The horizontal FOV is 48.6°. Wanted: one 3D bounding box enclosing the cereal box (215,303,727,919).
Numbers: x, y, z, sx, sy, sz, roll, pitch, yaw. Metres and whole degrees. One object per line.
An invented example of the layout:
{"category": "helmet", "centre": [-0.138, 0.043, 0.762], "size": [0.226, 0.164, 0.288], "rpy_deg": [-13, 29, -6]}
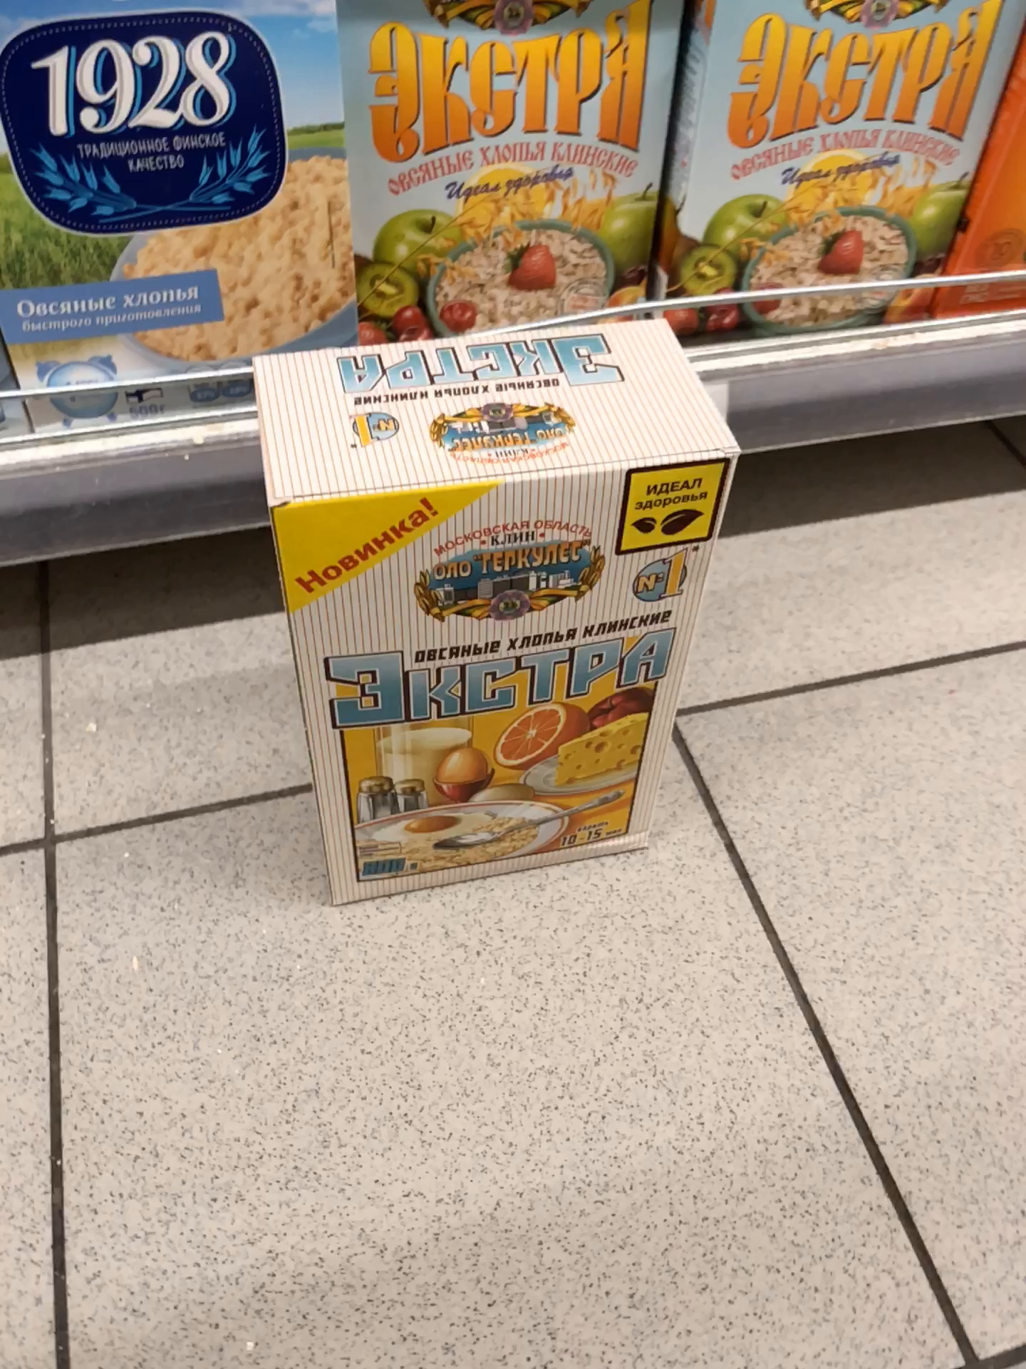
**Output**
{"category": "cereal box", "centre": [-0.021, -0.015, 0.452], "size": [0.150, 0.239, 0.080], "rpy_deg": [-9, 50, -10]}
